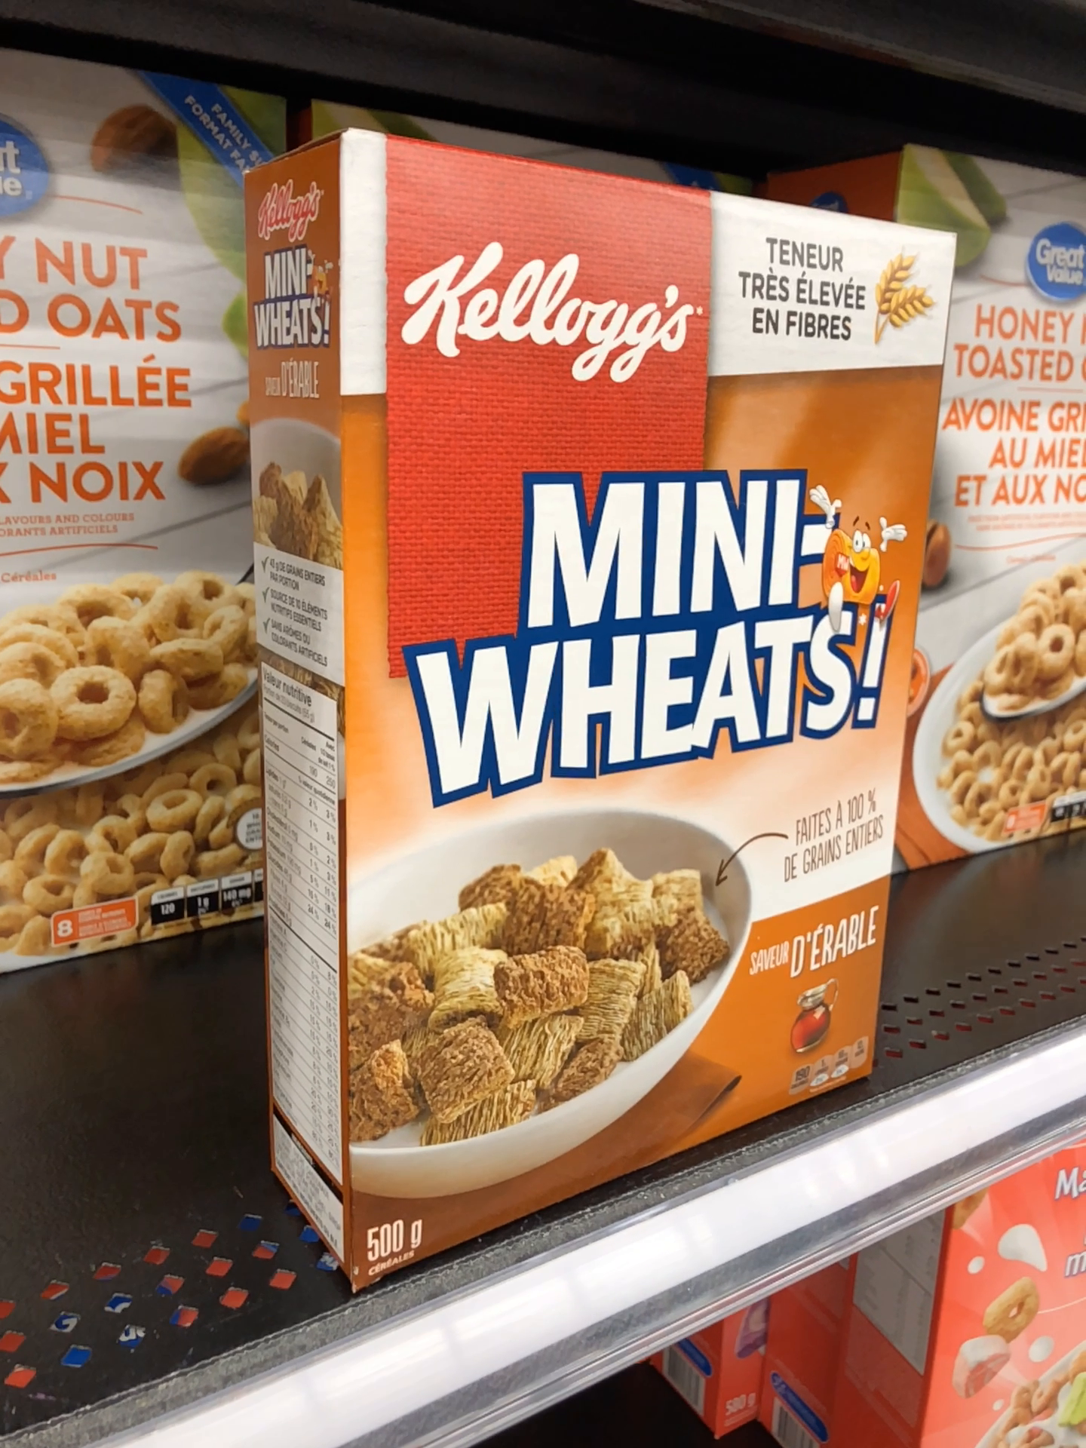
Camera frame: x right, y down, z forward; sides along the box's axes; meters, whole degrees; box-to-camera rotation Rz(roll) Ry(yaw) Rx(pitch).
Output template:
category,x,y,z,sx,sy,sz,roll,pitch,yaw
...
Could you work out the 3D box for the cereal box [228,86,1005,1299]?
category,x,y,z,sx,sy,sz,roll,pitch,yaw
cereal box,0.024,-0.009,0.337,0.200,0.269,0.060,-8,17,-32
